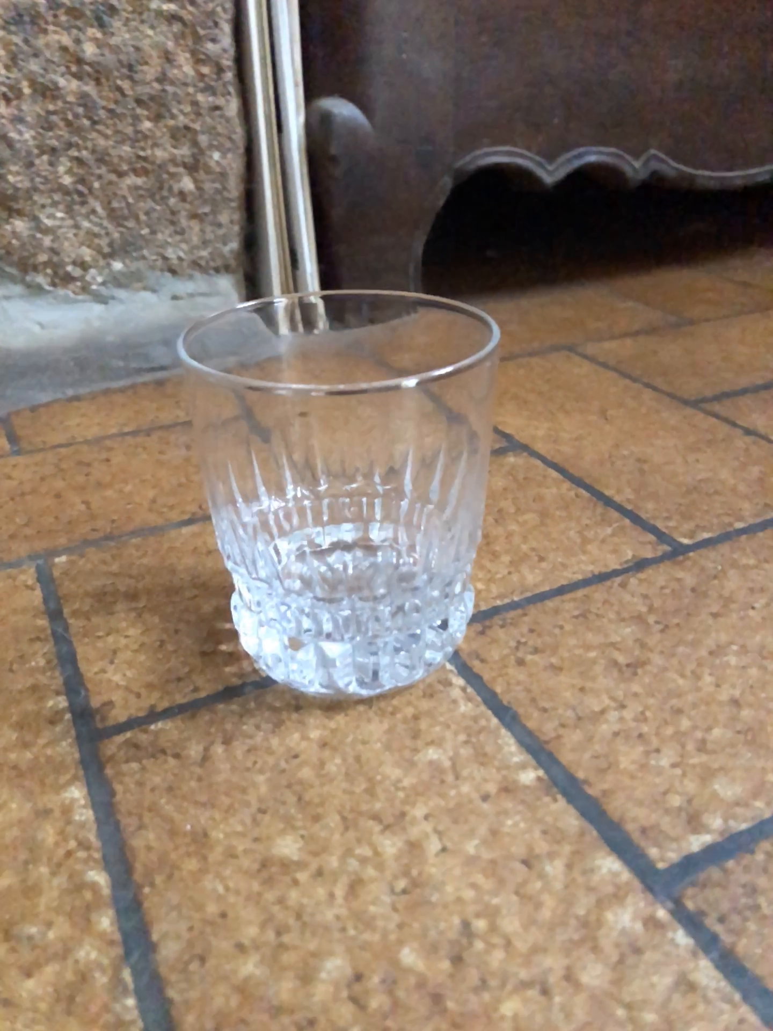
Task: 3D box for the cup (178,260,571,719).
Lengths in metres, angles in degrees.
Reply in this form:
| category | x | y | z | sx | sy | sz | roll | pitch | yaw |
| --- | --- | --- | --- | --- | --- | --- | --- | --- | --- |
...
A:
| category | x | y | z | sx | sy | sz | roll | pitch | yaw |
| --- | --- | --- | --- | --- | --- | --- | --- | --- | --- |
| cup | -0.007 | -0.012 | 0.229 | 0.080 | 0.089 | 0.080 | -1 | 28 | 0 |
